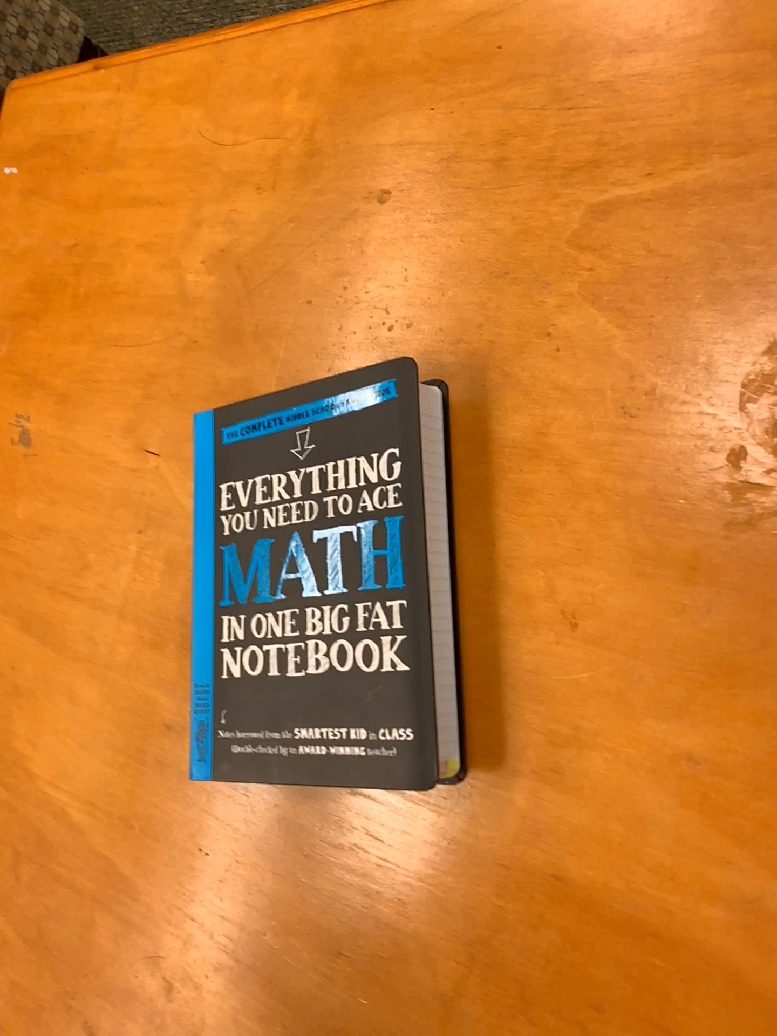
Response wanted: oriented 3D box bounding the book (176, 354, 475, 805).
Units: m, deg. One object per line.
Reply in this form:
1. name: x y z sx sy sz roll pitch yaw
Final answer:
1. book: -0.040 0.036 0.428 0.161 0.040 0.210 -8 77 31
